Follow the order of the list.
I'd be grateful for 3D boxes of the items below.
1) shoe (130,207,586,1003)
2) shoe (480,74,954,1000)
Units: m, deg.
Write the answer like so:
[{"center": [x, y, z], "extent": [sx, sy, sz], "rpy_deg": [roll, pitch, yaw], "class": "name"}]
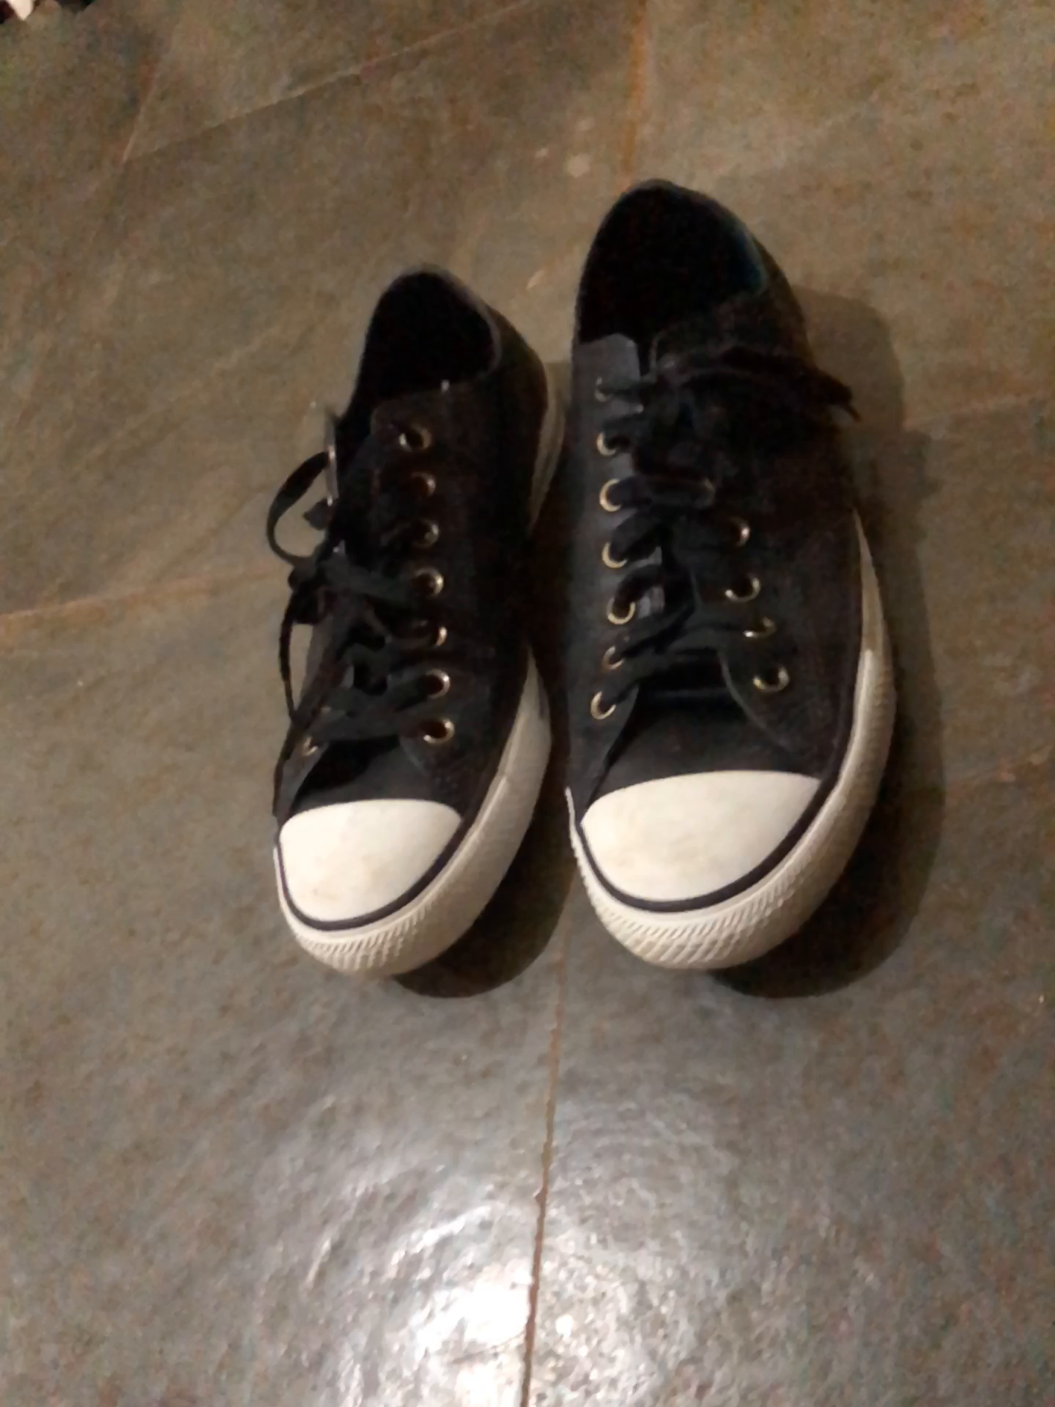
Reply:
[{"center": [-0.047, -0.045, 0.441], "extent": [0.100, 0.080, 0.291], "rpy_deg": [-9, 57, 23], "class": "shoe"}, {"center": [0.066, -0.067, 0.398], "extent": [0.110, 0.080, 0.311], "rpy_deg": [-9, 57, 23], "class": "shoe"}]
